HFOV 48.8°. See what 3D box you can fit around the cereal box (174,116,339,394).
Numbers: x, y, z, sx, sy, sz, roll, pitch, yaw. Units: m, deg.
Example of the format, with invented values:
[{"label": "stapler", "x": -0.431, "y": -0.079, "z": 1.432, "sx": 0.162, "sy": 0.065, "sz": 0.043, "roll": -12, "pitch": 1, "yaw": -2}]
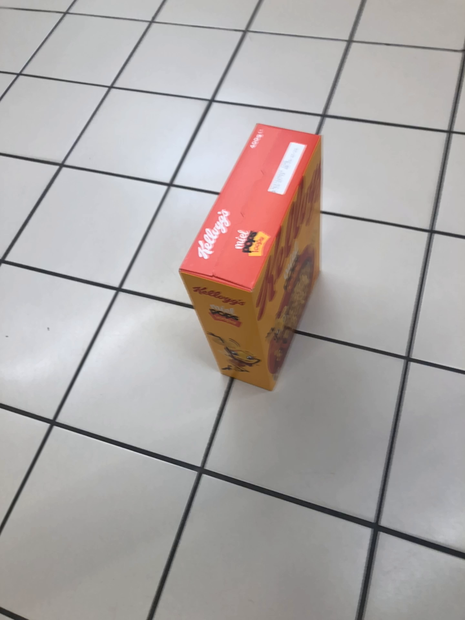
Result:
[{"label": "cereal box", "x": 0.040, "y": -0.047, "z": 0.570, "sx": 0.090, "sy": 0.239, "sz": 0.191, "roll": 16, "pitch": 64, "yaw": 16}]
